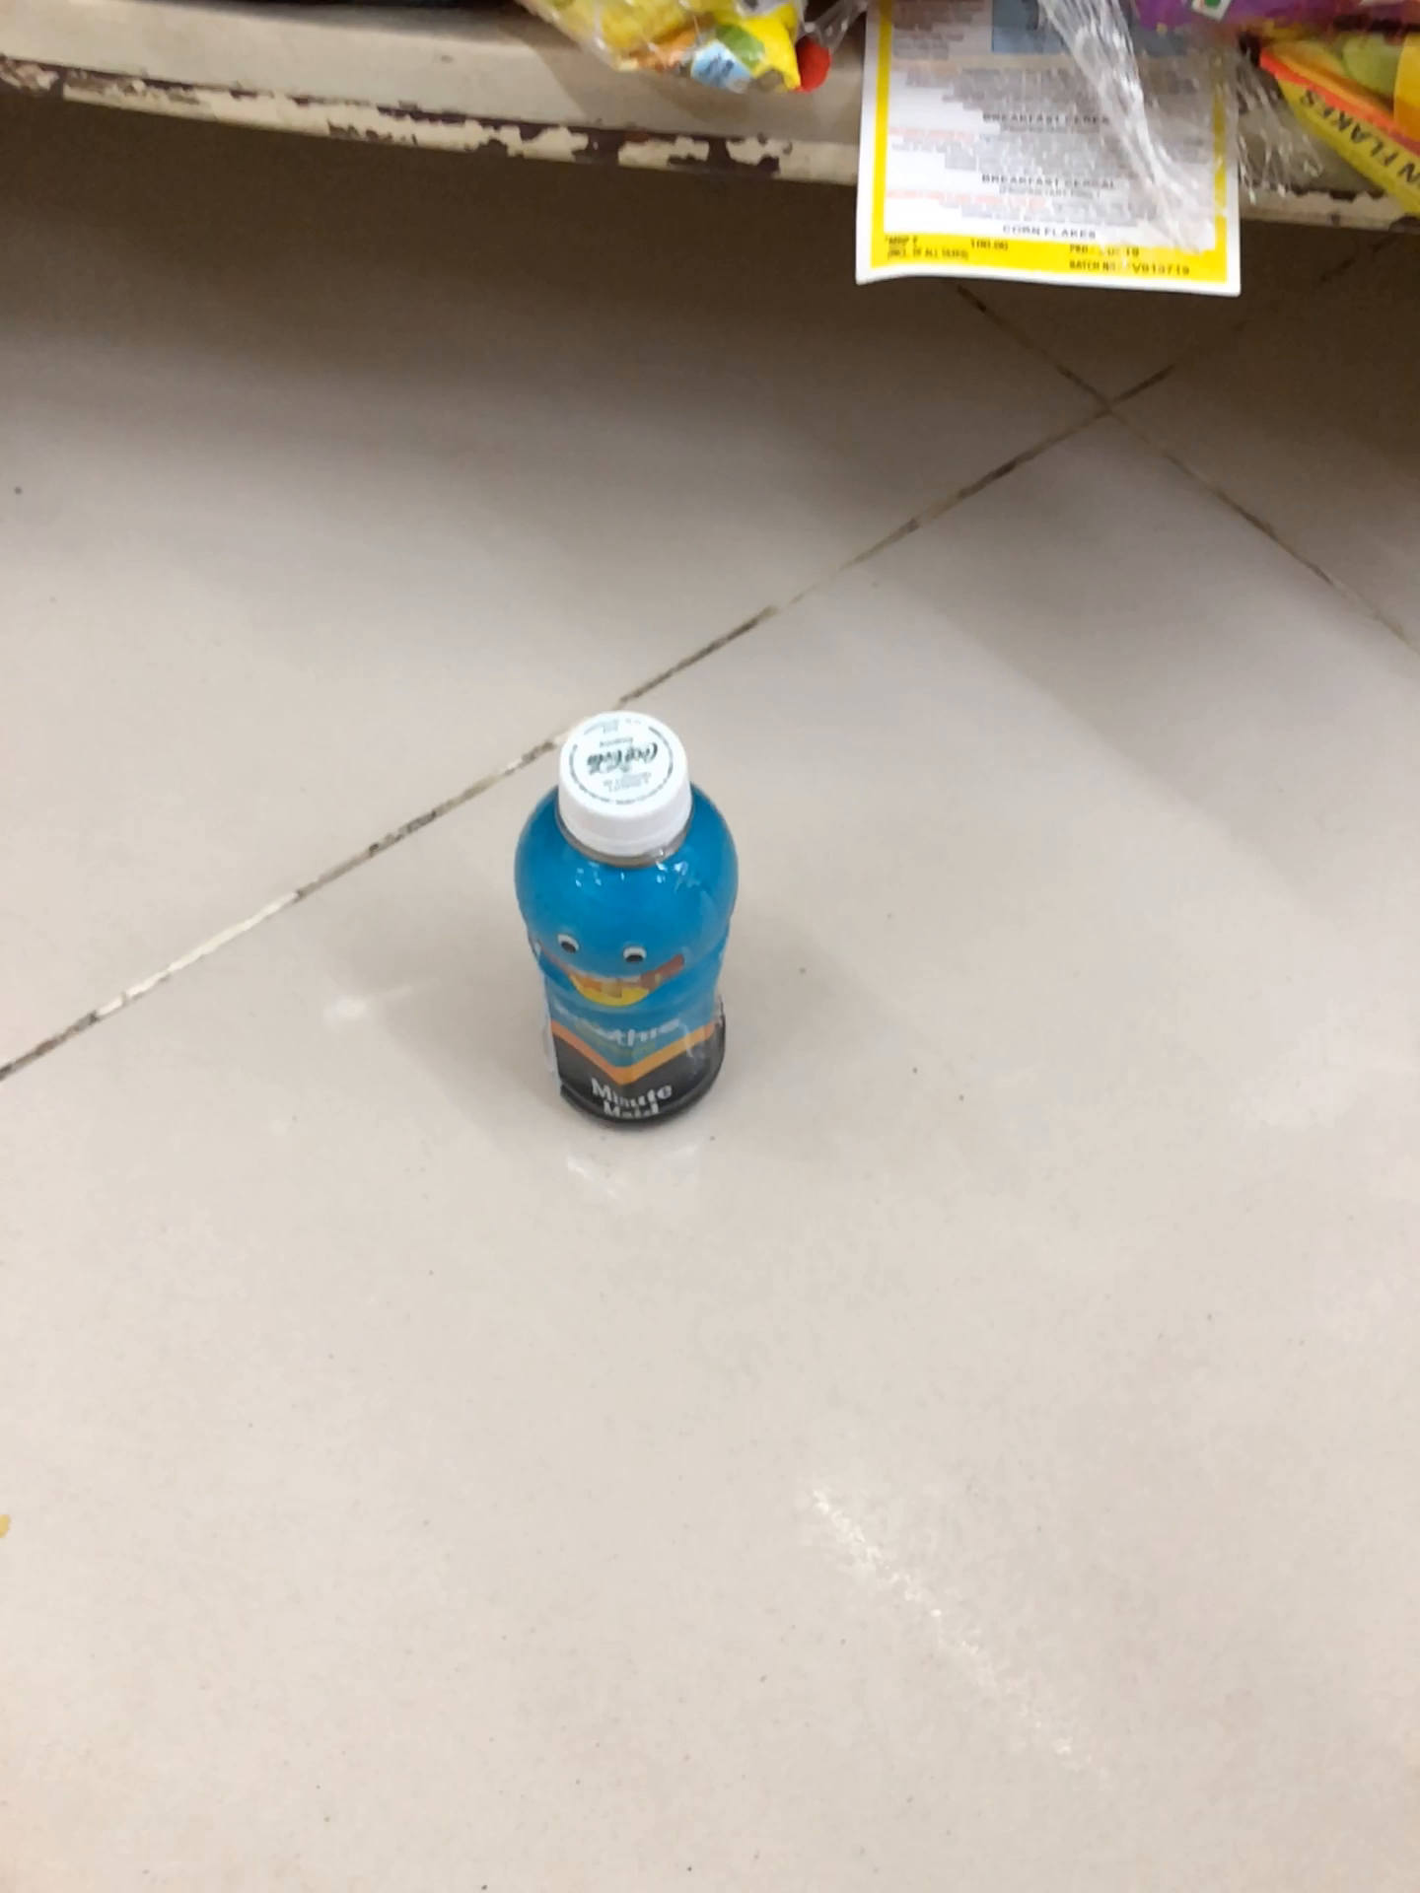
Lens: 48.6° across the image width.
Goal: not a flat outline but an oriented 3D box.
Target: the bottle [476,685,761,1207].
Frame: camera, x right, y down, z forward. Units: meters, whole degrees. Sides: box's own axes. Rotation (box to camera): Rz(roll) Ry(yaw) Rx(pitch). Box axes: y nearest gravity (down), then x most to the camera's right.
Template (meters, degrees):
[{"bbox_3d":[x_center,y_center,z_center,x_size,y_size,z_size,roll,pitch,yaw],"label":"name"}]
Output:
[{"bbox_3d":[-0.021,0.008,0.423,0.060,0.159,0.060,1,57,-1],"label":"bottle"}]
